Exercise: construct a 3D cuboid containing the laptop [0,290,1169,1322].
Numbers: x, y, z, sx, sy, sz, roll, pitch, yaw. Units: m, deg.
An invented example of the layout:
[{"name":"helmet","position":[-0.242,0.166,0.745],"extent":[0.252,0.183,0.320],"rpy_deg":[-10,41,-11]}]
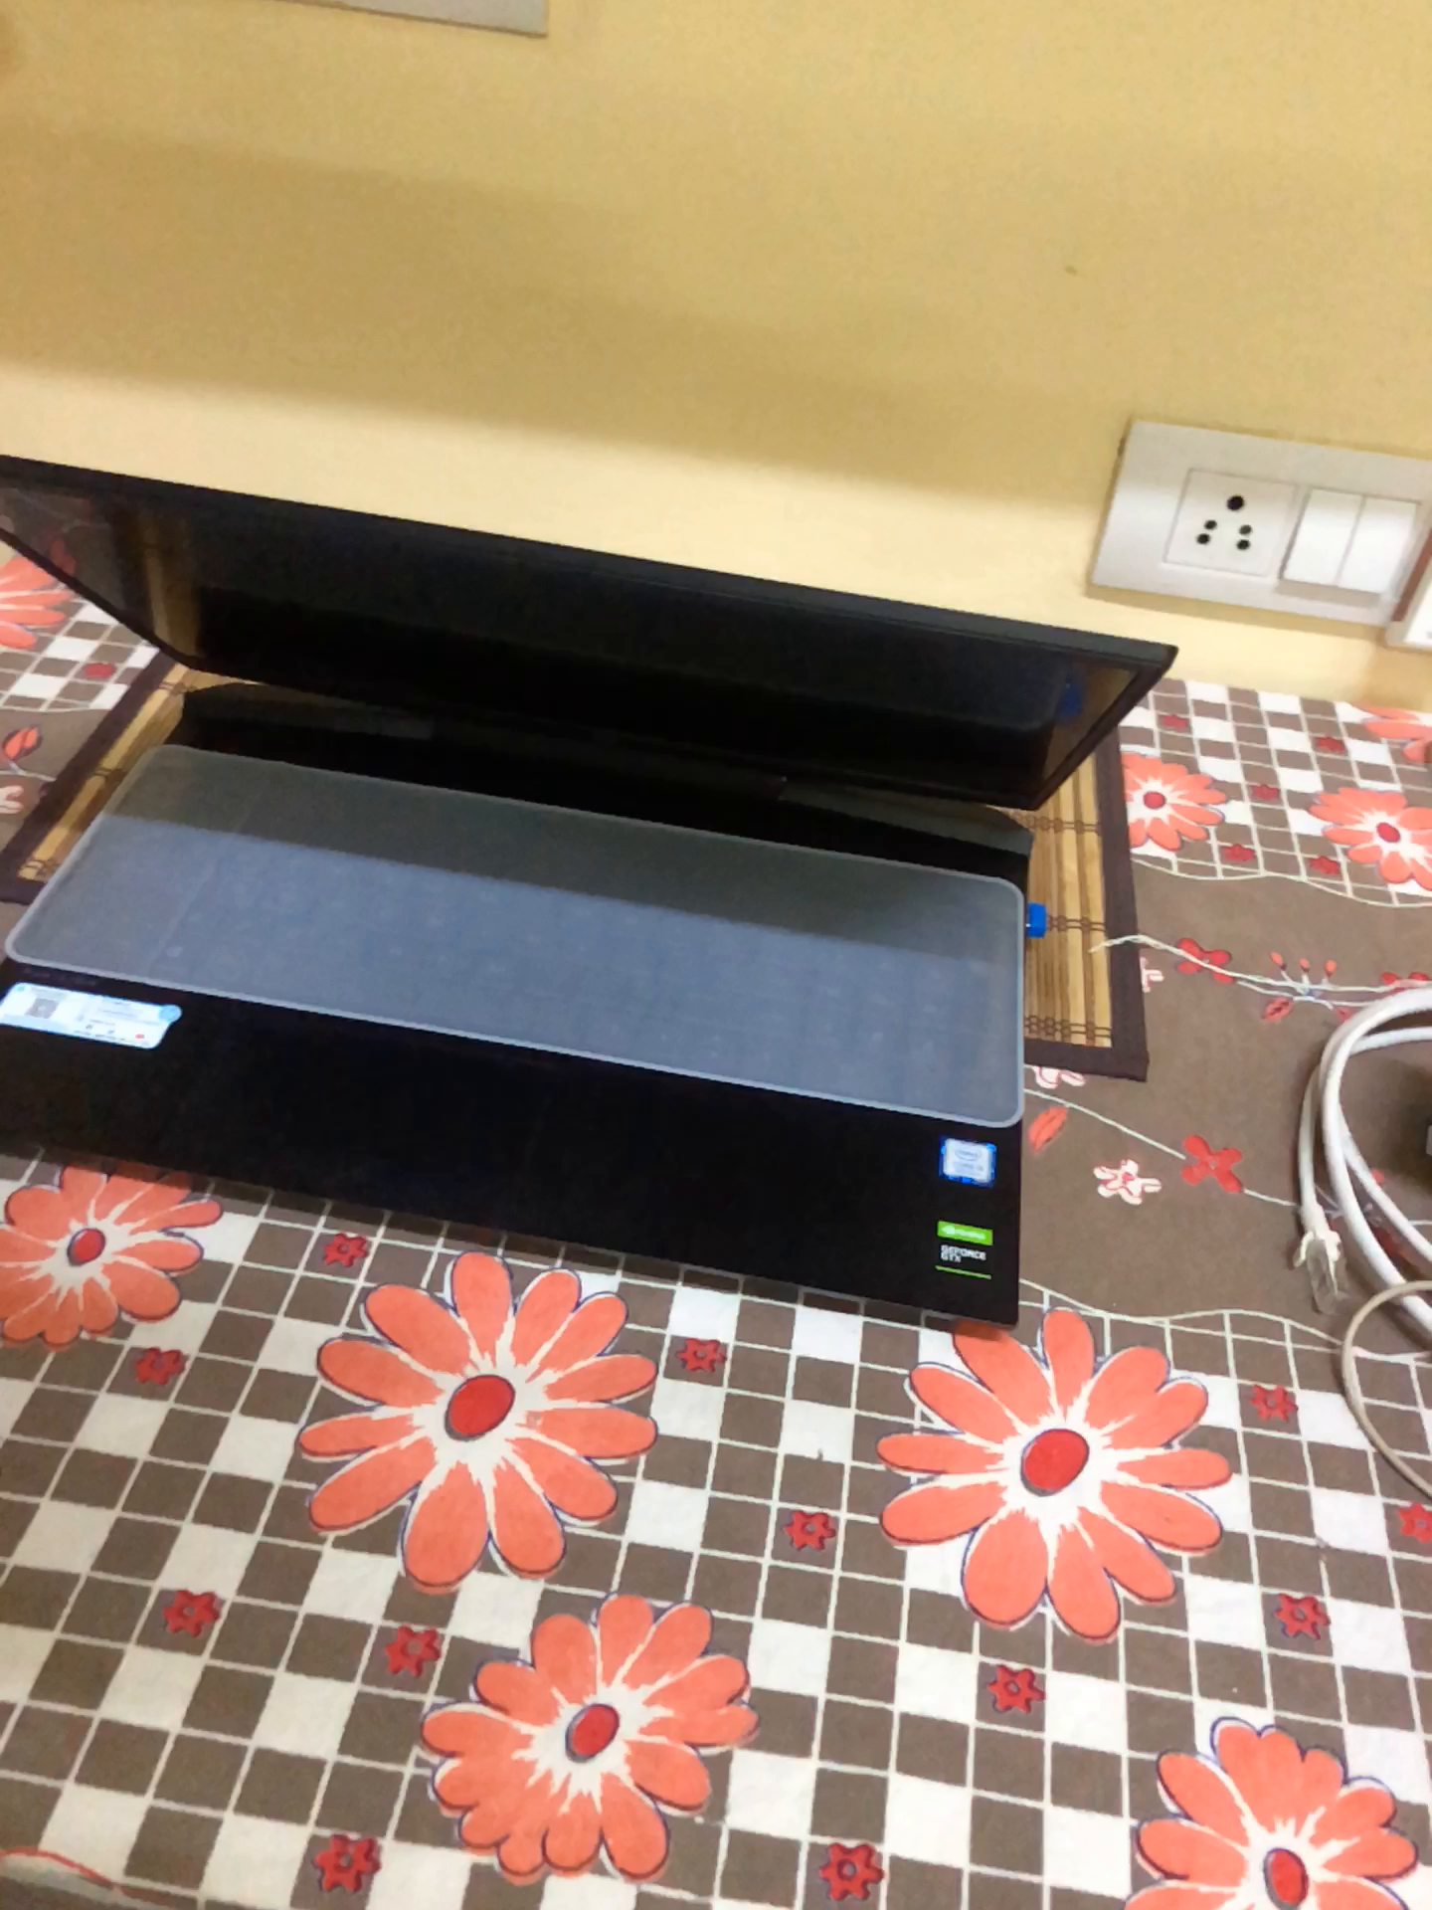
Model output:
[{"name":"laptop","position":[-0.055,-0.064,0.522],"extent":[0.355,0.164,0.238],"rpy_deg":[9,45,5]}]
